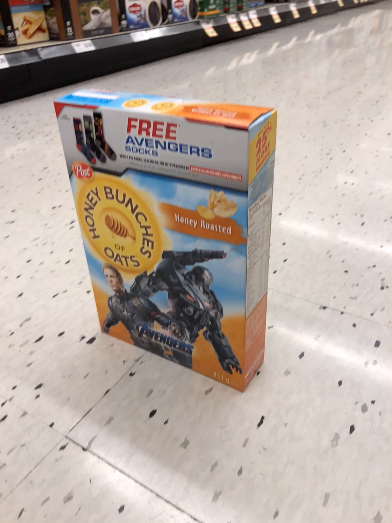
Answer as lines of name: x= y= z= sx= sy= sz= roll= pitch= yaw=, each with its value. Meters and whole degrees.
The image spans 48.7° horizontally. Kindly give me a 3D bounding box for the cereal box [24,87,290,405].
cereal box: x=-0.034 y=-0.014 z=0.408 sx=0.210 sy=0.258 sz=0.060 roll=16 pitch=37 yaw=26
